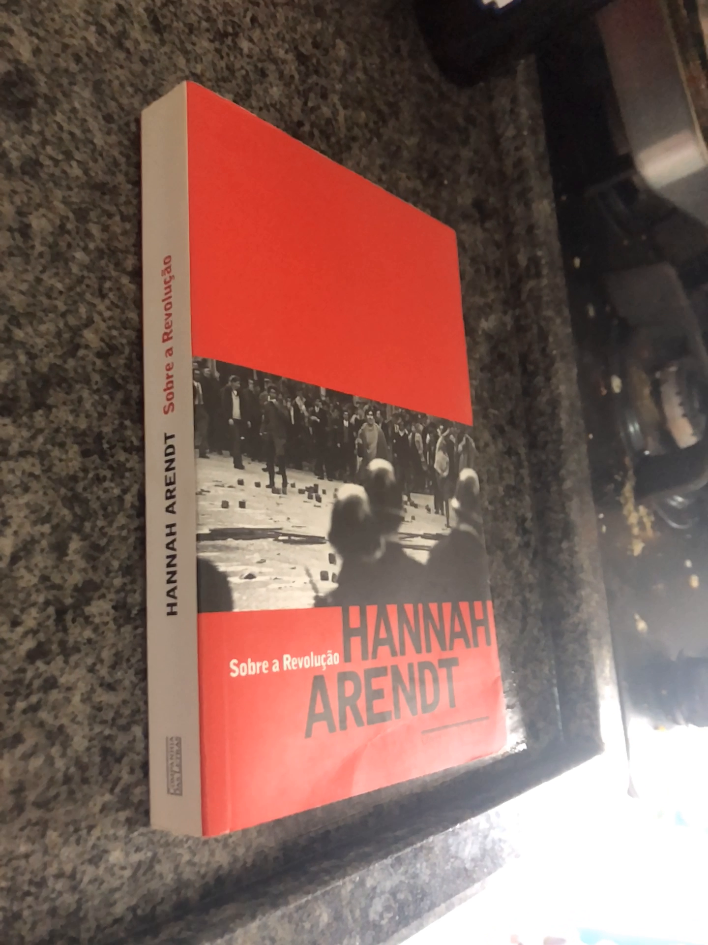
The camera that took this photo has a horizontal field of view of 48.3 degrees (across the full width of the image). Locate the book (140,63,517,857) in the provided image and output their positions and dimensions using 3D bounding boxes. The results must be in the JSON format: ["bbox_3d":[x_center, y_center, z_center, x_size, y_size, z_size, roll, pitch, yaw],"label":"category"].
[{"bbox_3d":[-0.002,-0.004,0.298,0.161,0.030,0.234,8,75,-49],"label":"book"}]
